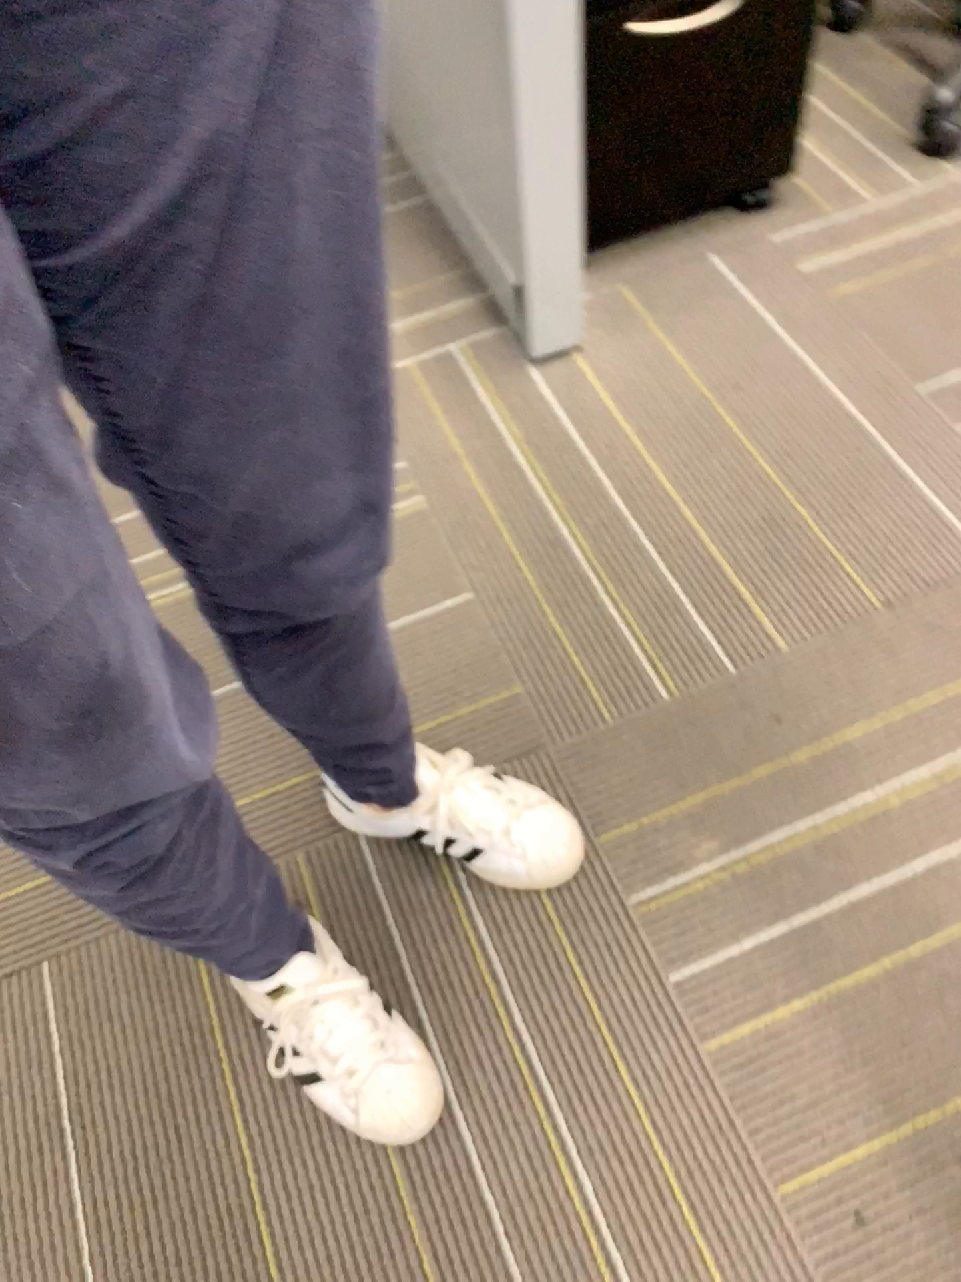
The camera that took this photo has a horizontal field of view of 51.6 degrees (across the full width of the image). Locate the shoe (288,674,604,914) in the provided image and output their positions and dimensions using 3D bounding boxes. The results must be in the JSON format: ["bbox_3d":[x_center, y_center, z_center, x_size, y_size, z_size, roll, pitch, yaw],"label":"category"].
[{"bbox_3d":[-0.028,0.140,0.927,0.262,0.104,0.108,17,59,18],"label":"shoe"}]

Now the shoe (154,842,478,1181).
[{"bbox_3d":[-0.138,0.305,0.835,0.258,0.104,0.106,35,66,27],"label":"shoe"}]
